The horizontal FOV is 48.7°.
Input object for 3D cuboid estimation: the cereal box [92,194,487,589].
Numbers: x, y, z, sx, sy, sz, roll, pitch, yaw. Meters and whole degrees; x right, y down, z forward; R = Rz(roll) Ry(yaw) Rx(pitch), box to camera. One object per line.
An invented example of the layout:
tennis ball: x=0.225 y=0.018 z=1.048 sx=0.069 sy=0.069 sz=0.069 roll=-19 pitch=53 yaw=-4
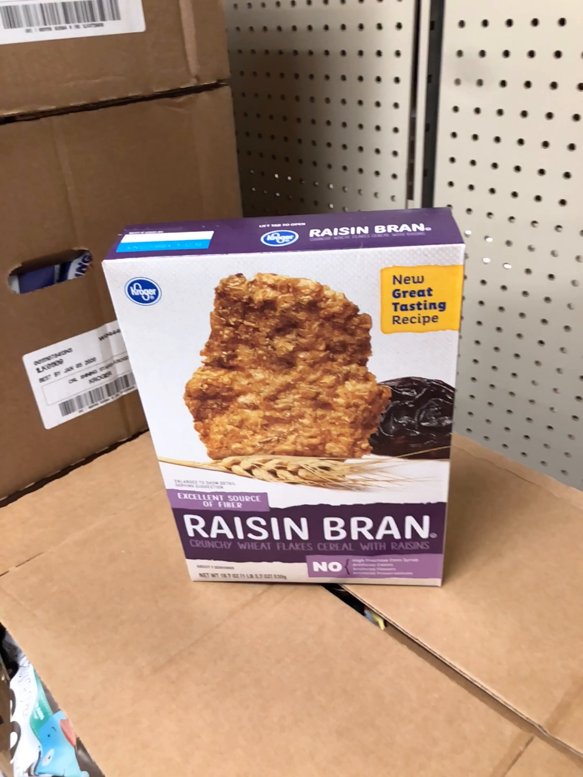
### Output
cereal box: x=0.007 y=0.019 z=0.425 sx=0.200 sy=0.269 sz=0.060 roll=-1 pitch=35 yaw=6
